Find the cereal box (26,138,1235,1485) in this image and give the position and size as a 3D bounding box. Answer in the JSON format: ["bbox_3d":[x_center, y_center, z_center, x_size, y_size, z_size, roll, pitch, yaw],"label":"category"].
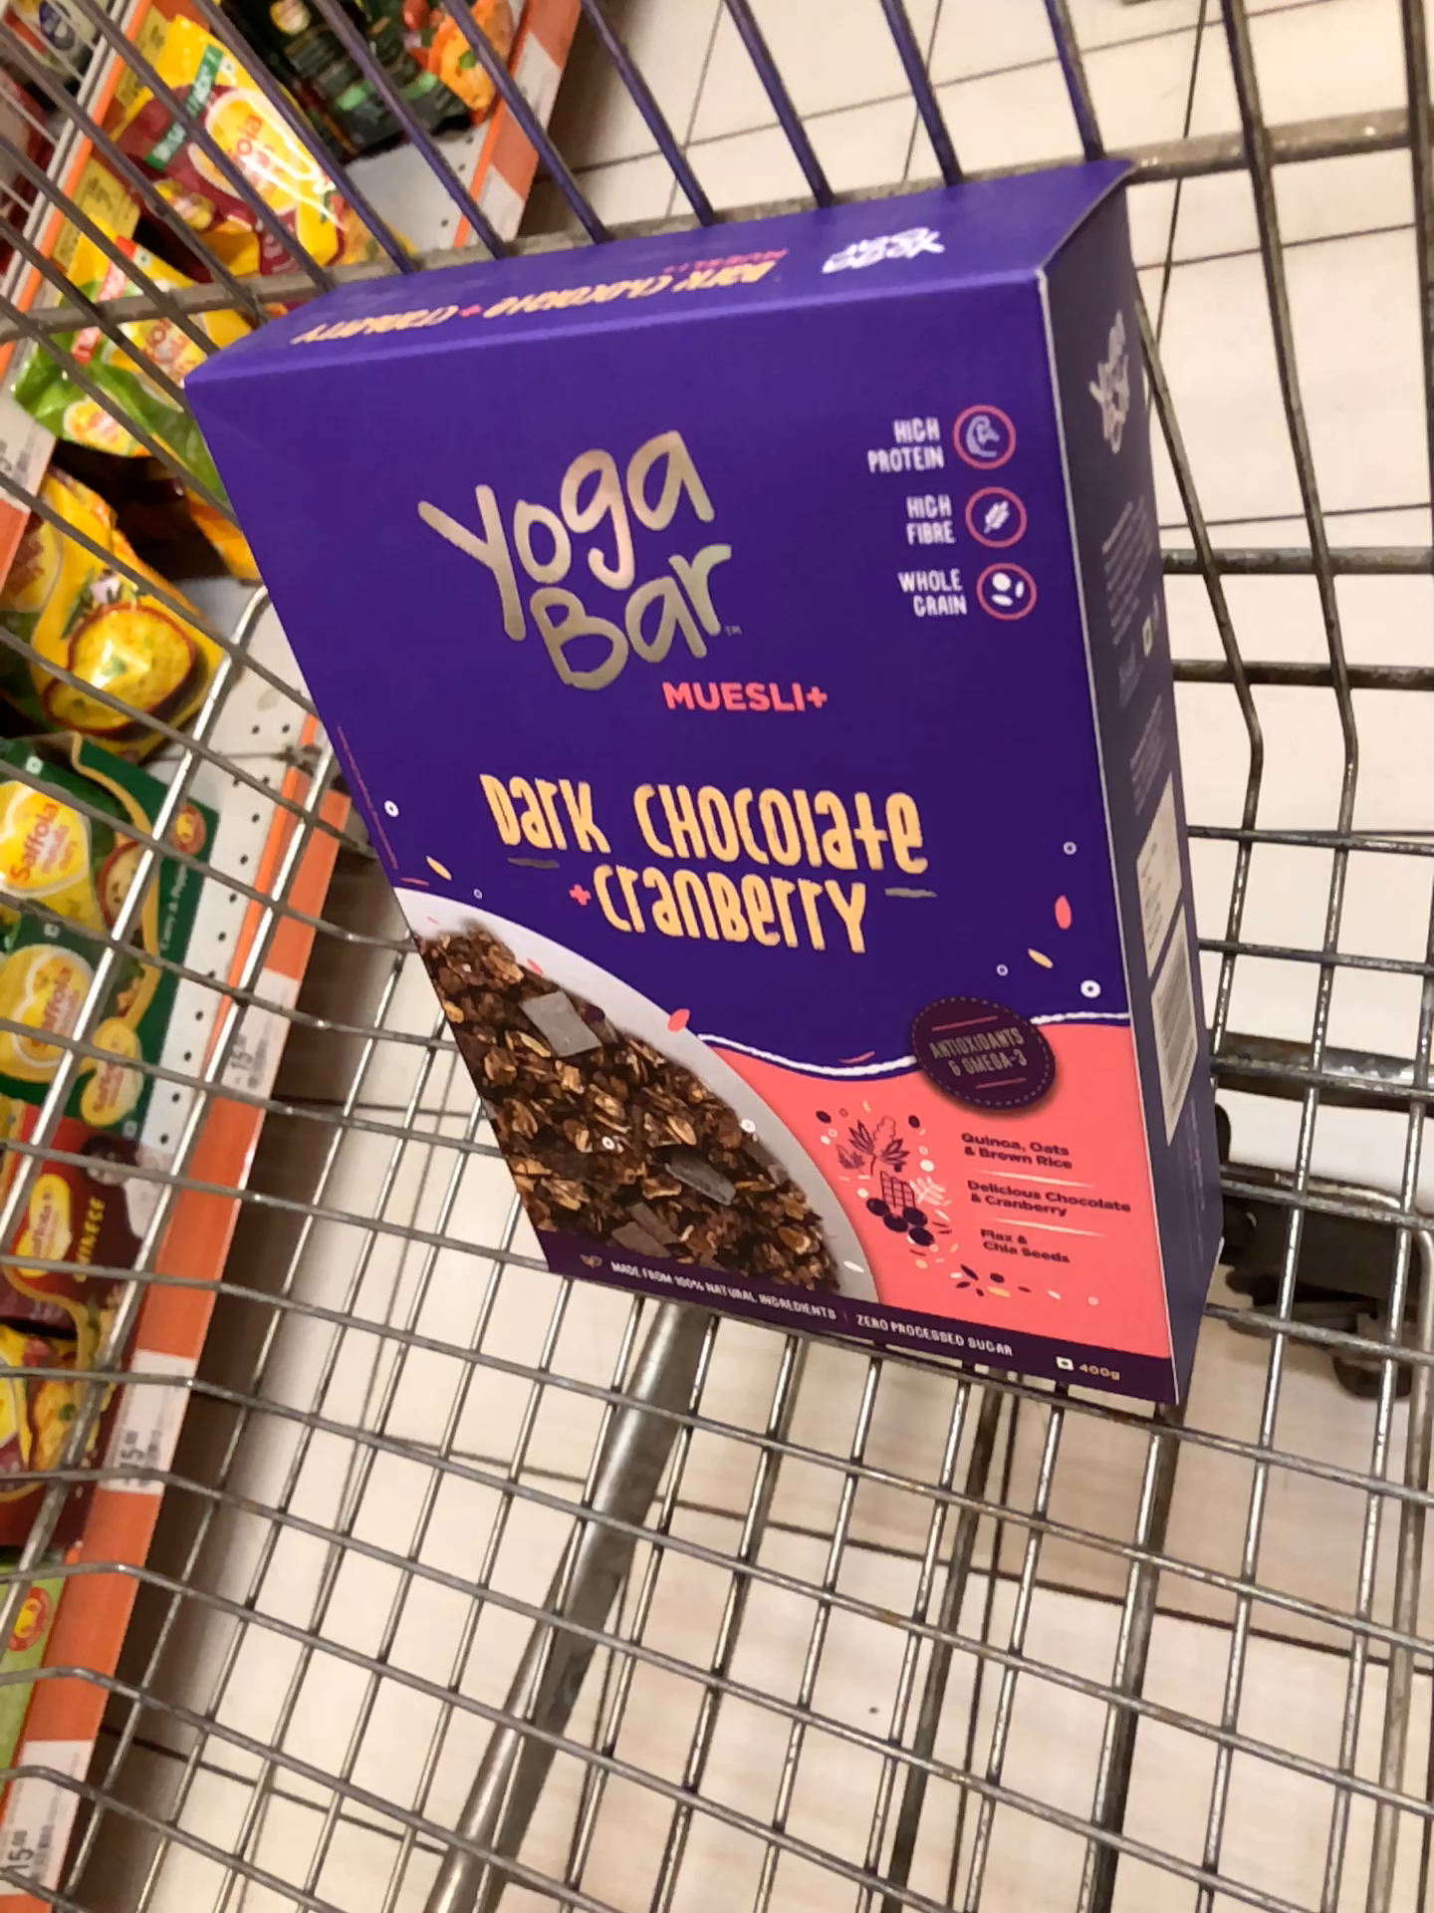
[{"bbox_3d":[-0.002,-0.015,0.313,0.180,0.229,0.060,6,38,29],"label":"cereal box"}]
